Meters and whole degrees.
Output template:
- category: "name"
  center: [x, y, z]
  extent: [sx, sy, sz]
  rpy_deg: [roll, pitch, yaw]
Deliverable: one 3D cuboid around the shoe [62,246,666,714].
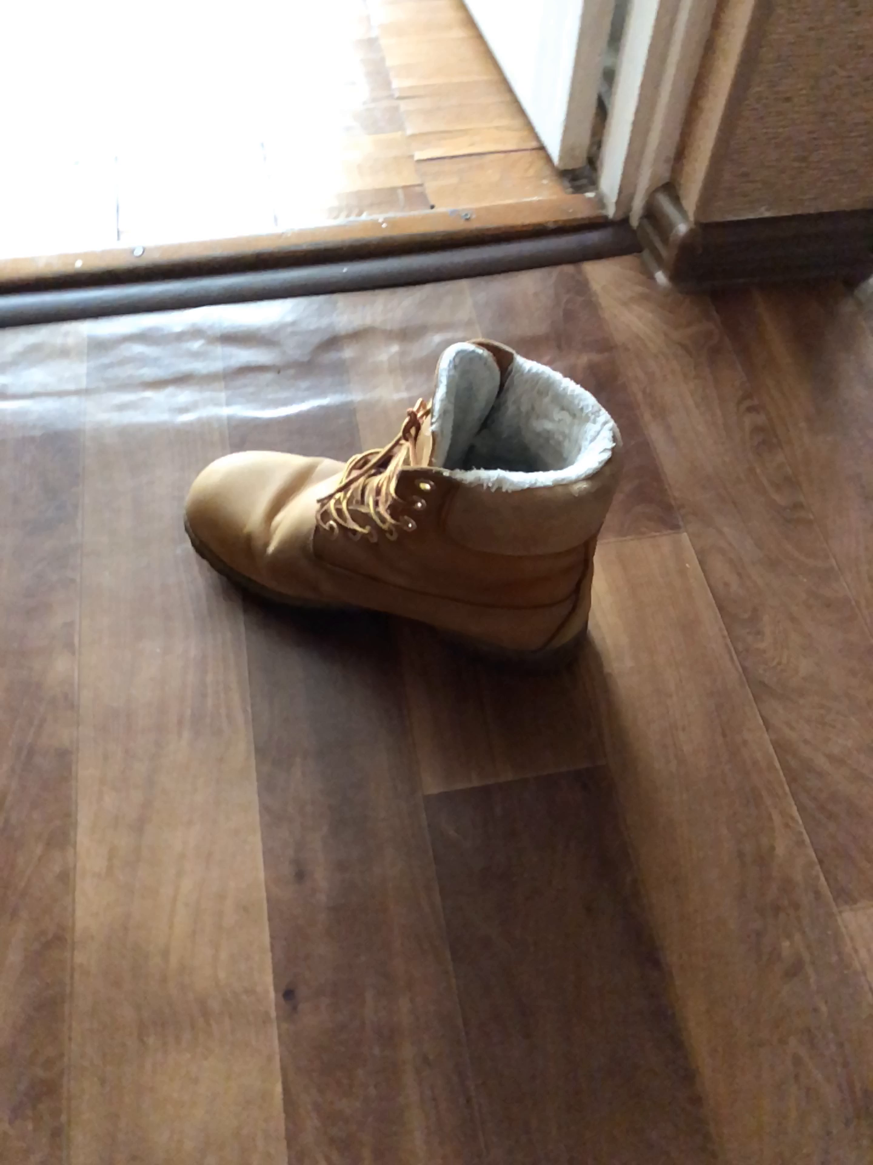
- category: "shoe"
  center: [-0.037, -0.056, 0.573]
  extent: [0.290, 0.179, 0.121]
  rpy_deg: [17, 58, 9]
